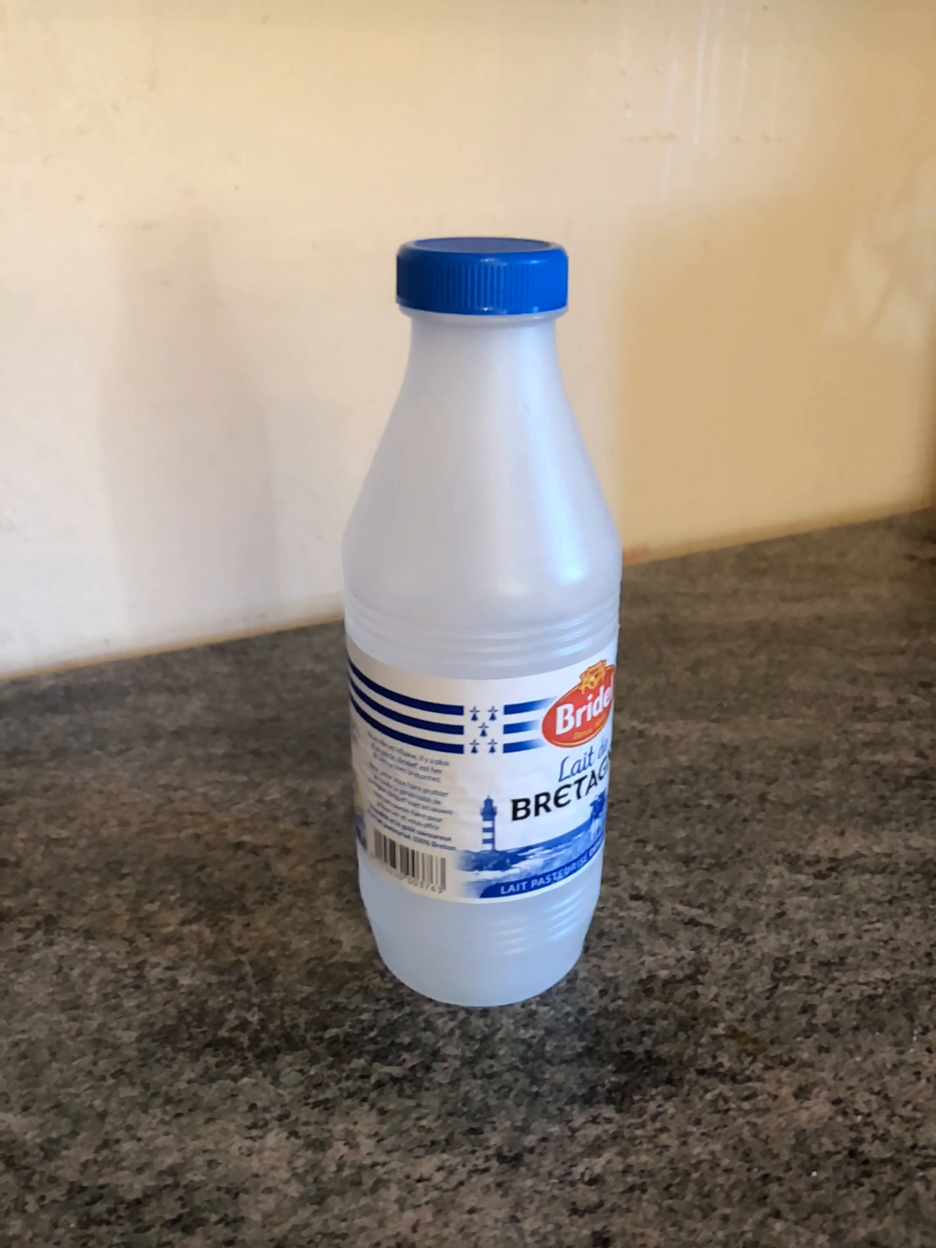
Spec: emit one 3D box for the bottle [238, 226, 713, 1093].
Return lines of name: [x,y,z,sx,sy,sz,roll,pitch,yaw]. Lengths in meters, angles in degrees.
bottle: [0.003,0.006,0.326,0.090,0.239,0.090,0,23,0]
